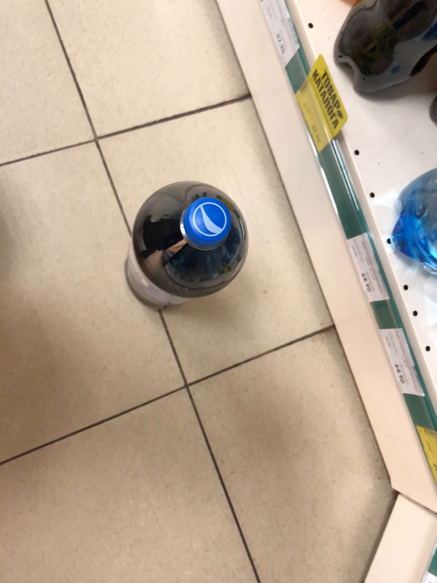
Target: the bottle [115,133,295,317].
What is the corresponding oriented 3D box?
[{"bbox_3d":[-0.039,-0.035,0.453,0.085,0.316,0.089,1,85,-13],"label":"bottle"}]
